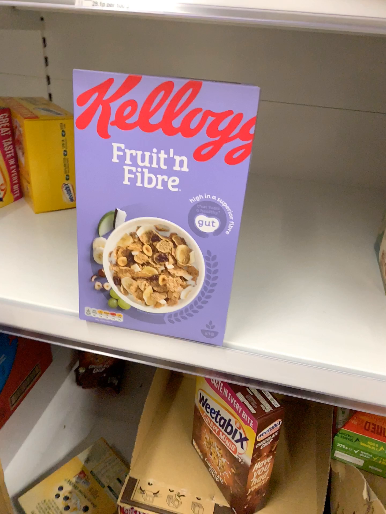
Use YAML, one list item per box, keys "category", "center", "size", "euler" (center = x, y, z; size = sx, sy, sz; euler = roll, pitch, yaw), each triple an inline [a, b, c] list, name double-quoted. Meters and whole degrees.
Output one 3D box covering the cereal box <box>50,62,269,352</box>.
- category: "cereal box"
  center: [-0.041, -0.054, 0.466]
  size: [0.210, 0.298, 0.081]
  euler: [9, 24, 8]
